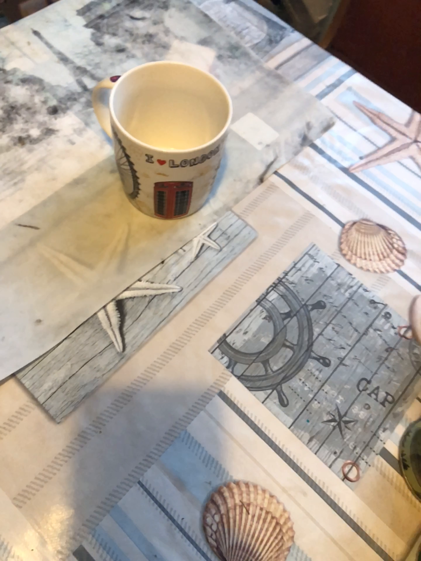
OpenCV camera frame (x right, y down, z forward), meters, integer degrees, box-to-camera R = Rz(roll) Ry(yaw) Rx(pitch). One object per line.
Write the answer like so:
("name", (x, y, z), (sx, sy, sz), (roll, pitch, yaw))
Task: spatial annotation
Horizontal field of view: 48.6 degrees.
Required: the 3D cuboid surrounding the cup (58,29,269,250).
("cup", (-0.038, -0.108, 0.361), (0.121, 0.086, 0.084), (39, 61, 11))
